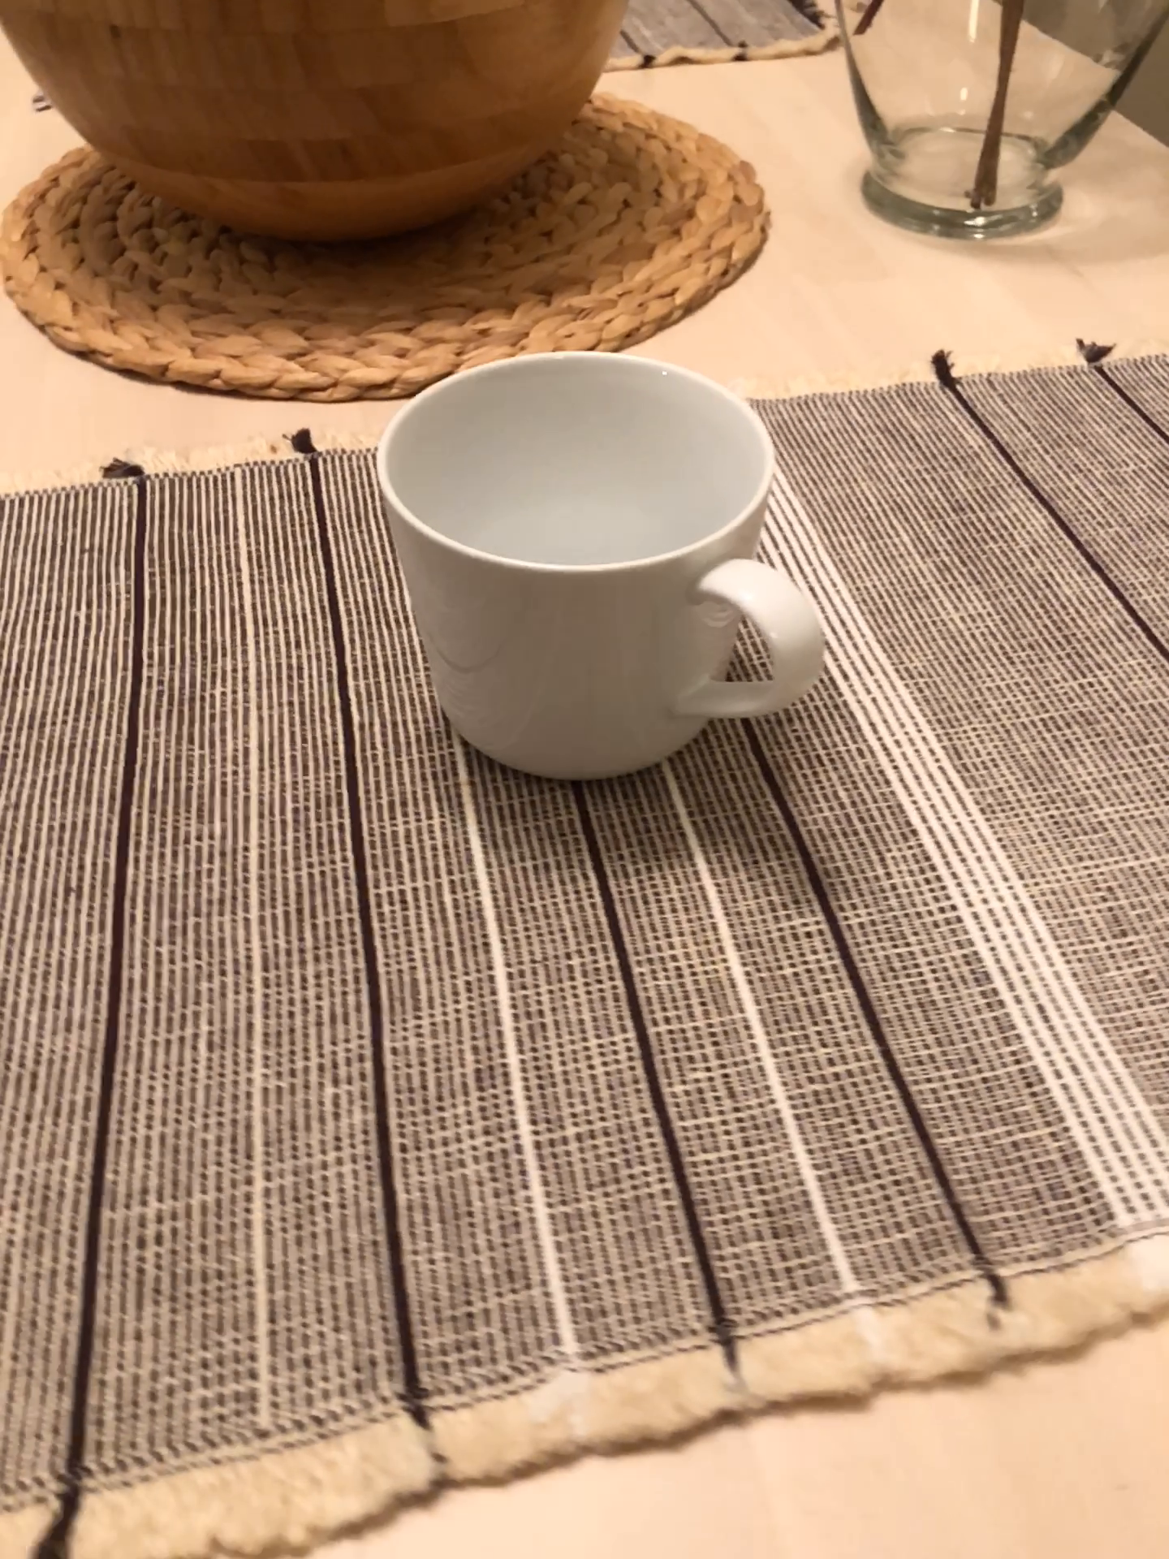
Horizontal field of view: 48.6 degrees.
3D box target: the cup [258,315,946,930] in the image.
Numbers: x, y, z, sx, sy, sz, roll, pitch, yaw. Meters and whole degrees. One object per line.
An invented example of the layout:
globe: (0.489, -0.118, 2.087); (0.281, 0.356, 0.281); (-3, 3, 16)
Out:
cup: (0.001, -0.050, 0.340); (0.100, 0.070, 0.140); (-32, 53, -28)
